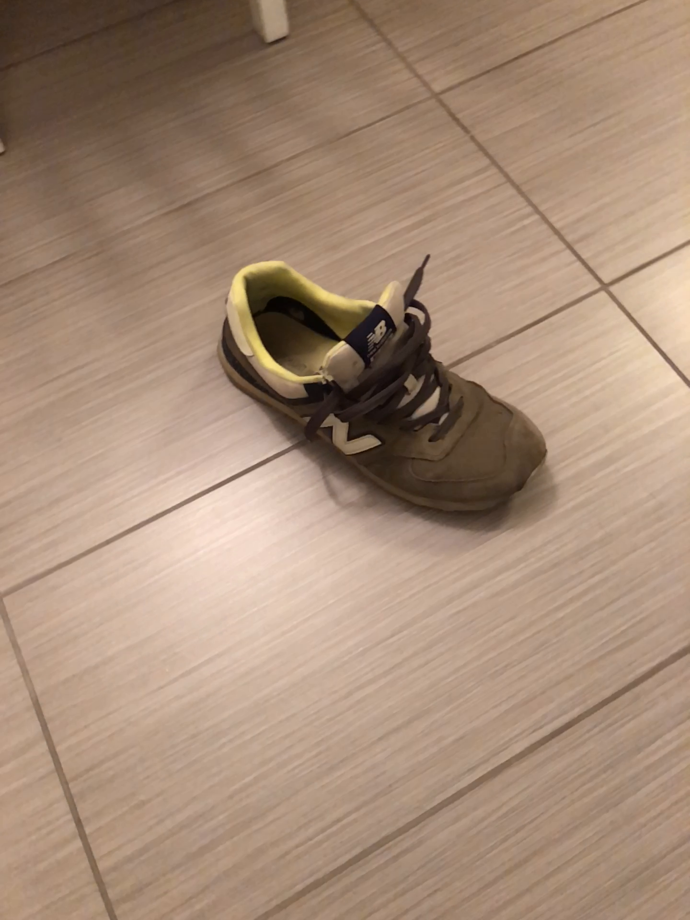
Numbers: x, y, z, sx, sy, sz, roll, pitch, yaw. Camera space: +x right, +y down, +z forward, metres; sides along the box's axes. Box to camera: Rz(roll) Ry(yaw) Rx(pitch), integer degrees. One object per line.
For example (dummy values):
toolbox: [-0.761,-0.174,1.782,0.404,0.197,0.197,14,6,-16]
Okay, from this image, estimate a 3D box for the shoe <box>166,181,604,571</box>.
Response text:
shoe: [0.024,-0.072,0.607,0.310,0.110,0.130,38,73,19]
